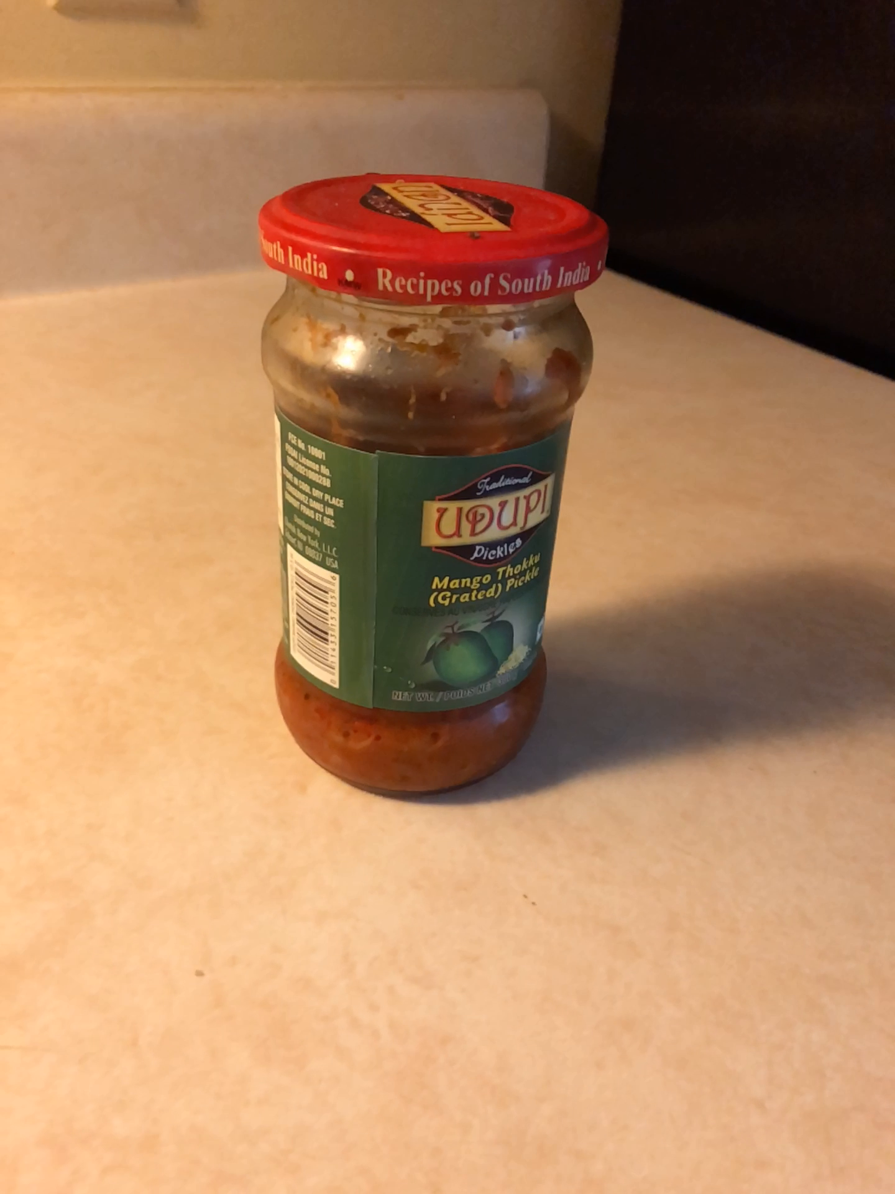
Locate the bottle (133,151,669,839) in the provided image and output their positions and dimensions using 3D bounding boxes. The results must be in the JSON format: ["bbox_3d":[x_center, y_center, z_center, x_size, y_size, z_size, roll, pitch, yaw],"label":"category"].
[{"bbox_3d":[-0.017,-0.027,0.221,0.080,0.120,0.080,3,32,-2],"label":"bottle"}]
